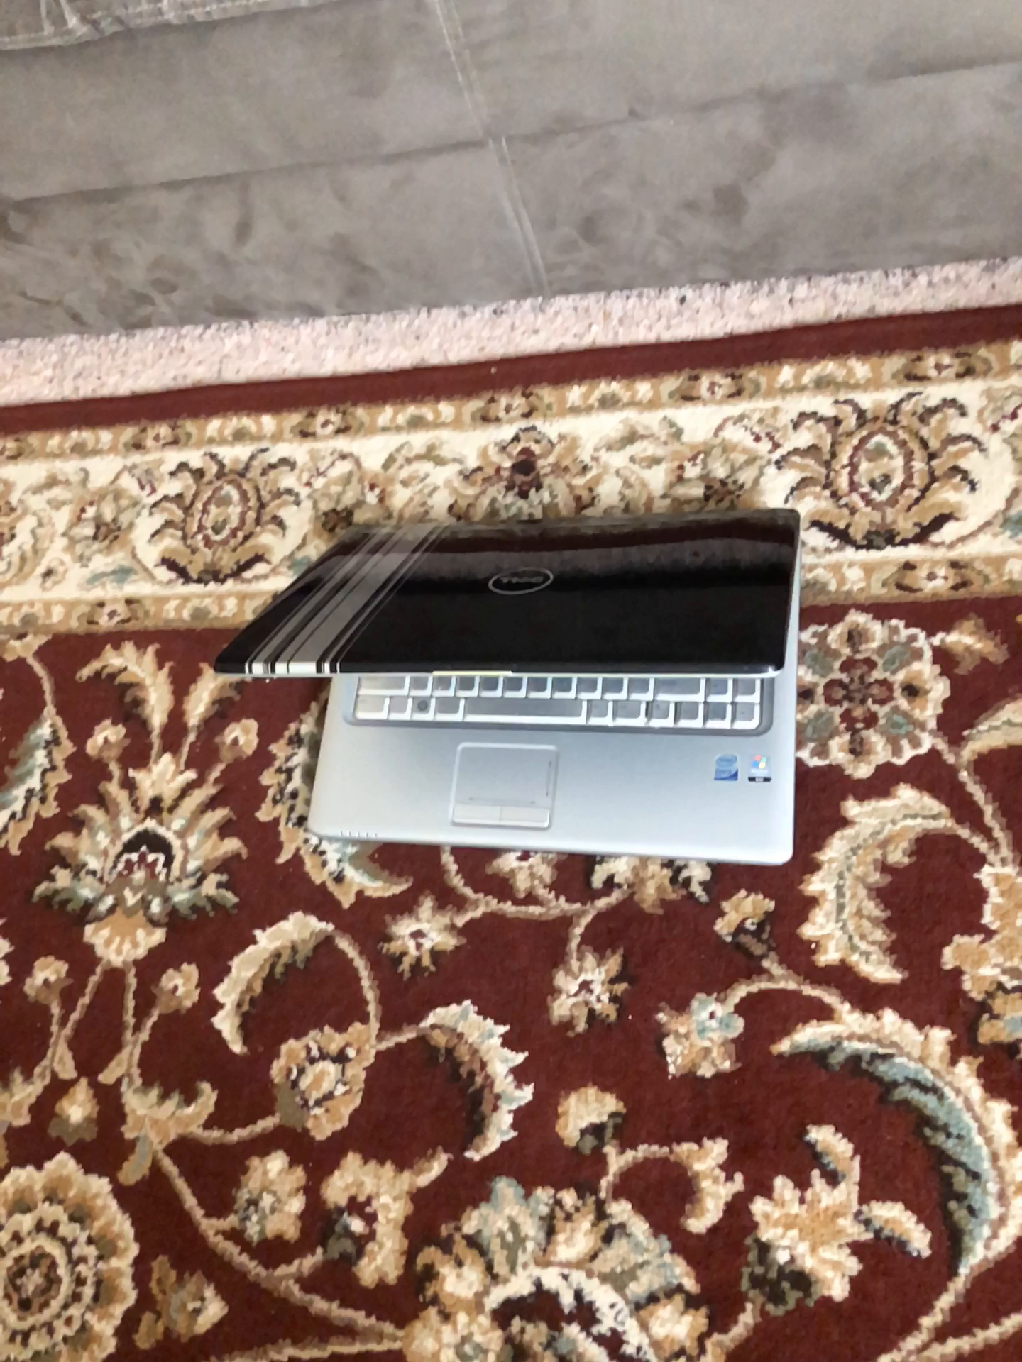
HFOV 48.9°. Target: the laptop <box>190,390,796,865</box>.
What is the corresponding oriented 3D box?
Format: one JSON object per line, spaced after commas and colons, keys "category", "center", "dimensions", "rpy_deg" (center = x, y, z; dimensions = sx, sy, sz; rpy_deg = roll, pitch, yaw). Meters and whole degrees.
{"category": "laptop", "center": [0.006, -0.027, 0.742], "dimensions": [0.342, 0.164, 0.244], "rpy_deg": [0, 69, 16]}
